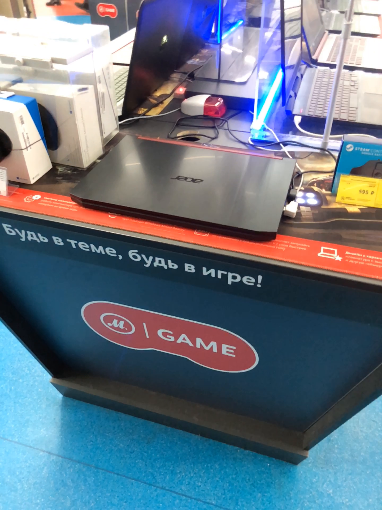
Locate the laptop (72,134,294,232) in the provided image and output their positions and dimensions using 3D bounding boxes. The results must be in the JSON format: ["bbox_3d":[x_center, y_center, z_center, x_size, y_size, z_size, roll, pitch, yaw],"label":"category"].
[{"bbox_3d":[-0.002,-0.147,0.775,0.350,0.005,0.244,12,42,13],"label":"laptop"}]
